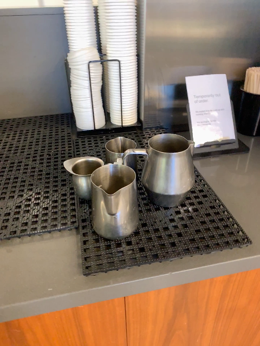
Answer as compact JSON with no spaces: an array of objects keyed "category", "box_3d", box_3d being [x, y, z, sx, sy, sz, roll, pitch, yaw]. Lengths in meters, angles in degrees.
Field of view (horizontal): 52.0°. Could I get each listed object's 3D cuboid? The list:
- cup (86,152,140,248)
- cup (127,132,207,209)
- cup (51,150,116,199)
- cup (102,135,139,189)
[{"category":"cup","box_3d":[-0.026,0.045,0.480,0.080,0.119,0.121,-2,34,-1]},{"category":"cup","box_3d":[0.068,-0.007,0.545,0.140,0.119,0.101,1,34,3]},{"category":"cup","box_3d":[-0.088,0.002,0.538,0.110,0.070,0.070,1,34,3]},{"category":"cup","box_3d":[-0.018,-0.027,0.579,0.070,0.070,0.111,-1,34,0]}]
